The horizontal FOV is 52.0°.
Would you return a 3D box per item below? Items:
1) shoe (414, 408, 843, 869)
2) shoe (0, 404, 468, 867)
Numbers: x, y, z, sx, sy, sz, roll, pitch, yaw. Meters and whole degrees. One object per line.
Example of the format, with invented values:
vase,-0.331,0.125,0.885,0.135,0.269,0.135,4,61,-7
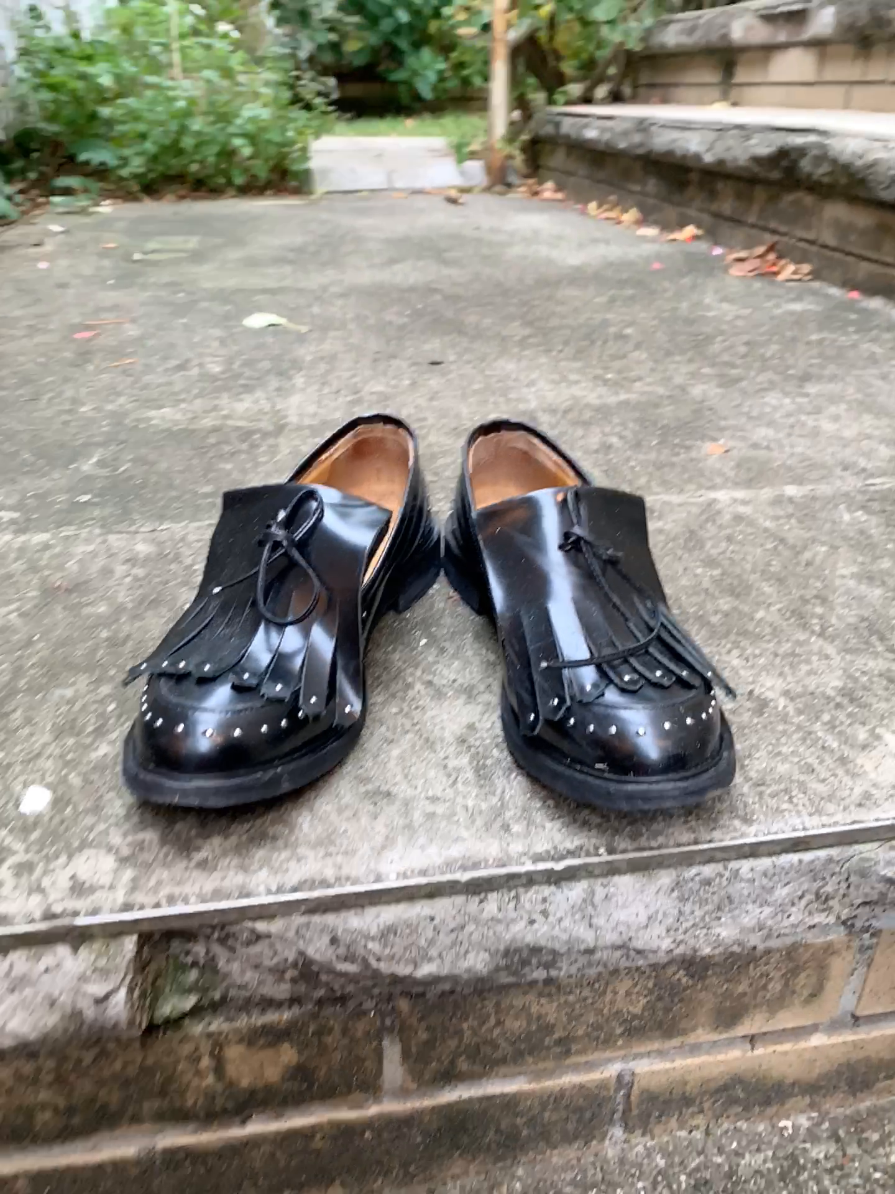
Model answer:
shoe,0.053,-0.006,0.407,0.093,0.080,0.249,-5,29,-11
shoe,-0.066,-0.007,0.404,0.093,0.080,0.247,6,29,13
